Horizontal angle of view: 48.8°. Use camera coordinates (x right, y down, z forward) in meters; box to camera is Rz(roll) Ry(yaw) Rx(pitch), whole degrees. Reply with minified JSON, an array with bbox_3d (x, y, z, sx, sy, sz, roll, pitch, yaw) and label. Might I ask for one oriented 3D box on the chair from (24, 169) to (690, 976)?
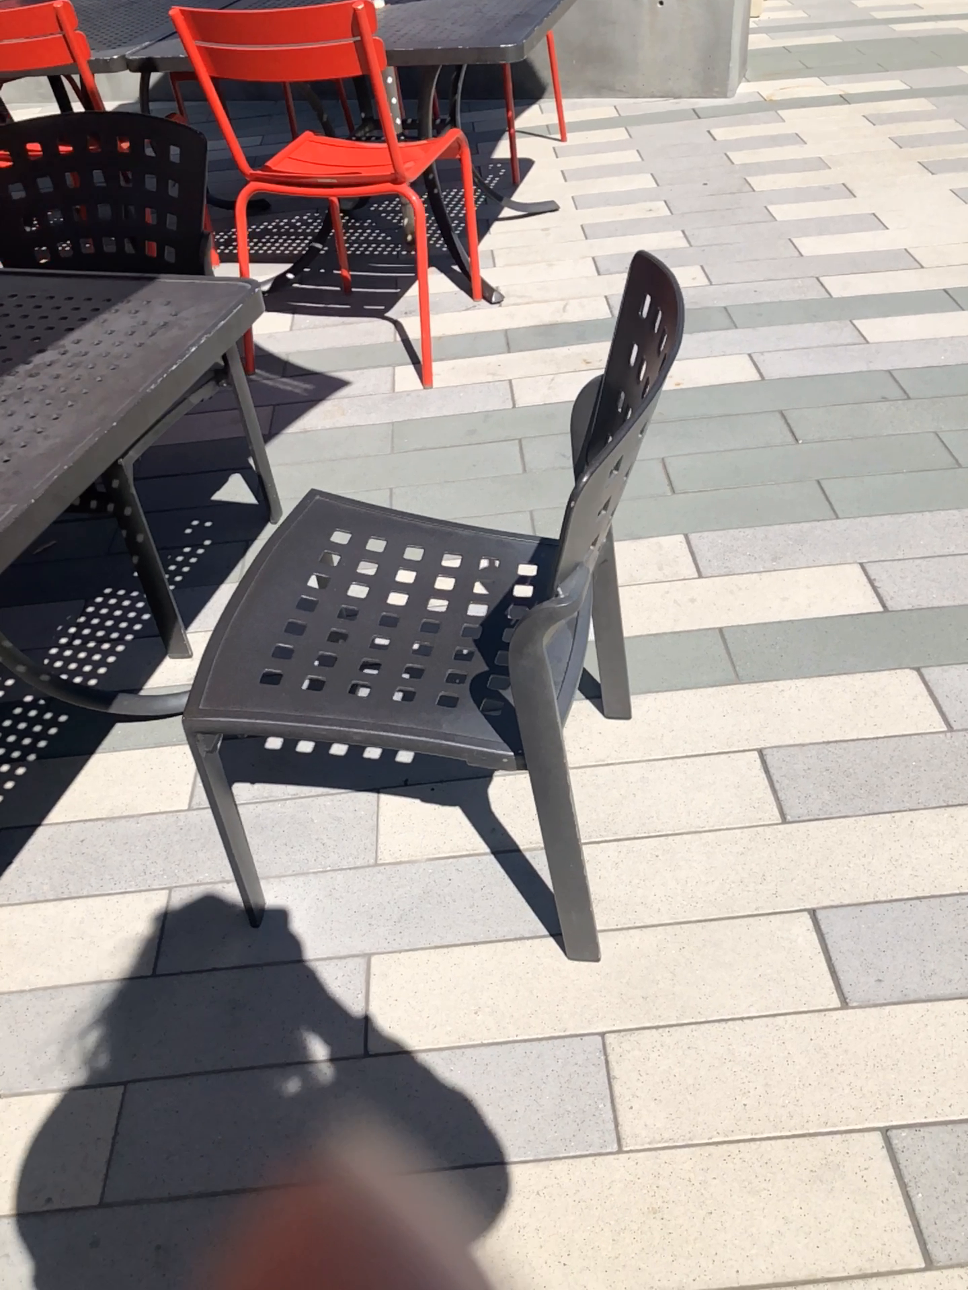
[{"bbox_3d":[-0.071,-0.079,1.271,0.530,0.756,0.522,5,41,6],"label":"chair"}]
